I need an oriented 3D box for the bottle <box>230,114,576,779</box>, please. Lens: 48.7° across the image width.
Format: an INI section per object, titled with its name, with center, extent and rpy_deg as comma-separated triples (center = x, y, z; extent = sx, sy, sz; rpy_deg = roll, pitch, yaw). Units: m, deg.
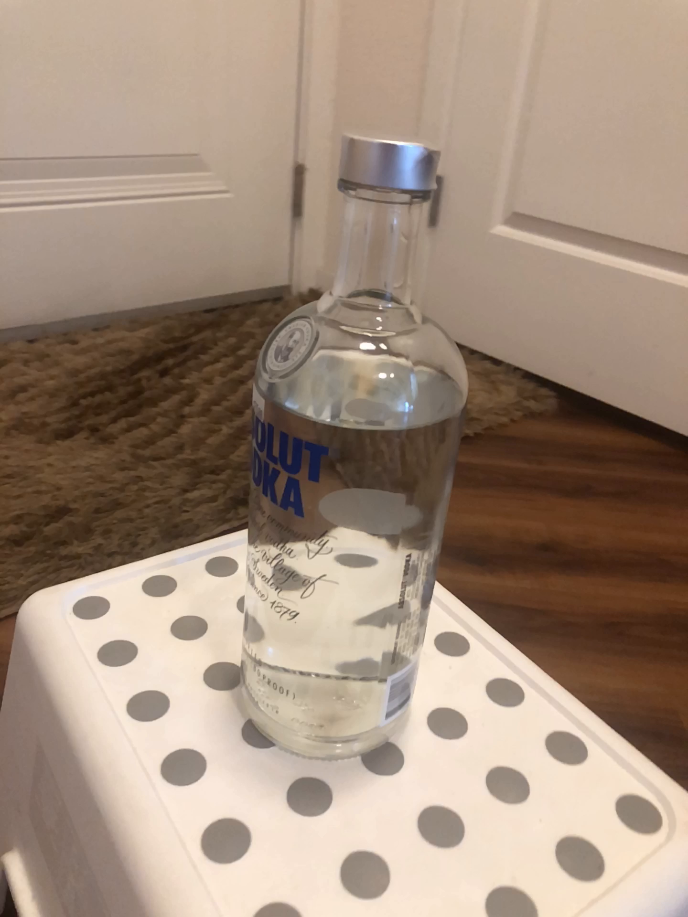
[bottle]
center = 0.005, 0.004, 0.331
extent = 0.100, 0.269, 0.090
rpy_deg = -2, 28, -13
